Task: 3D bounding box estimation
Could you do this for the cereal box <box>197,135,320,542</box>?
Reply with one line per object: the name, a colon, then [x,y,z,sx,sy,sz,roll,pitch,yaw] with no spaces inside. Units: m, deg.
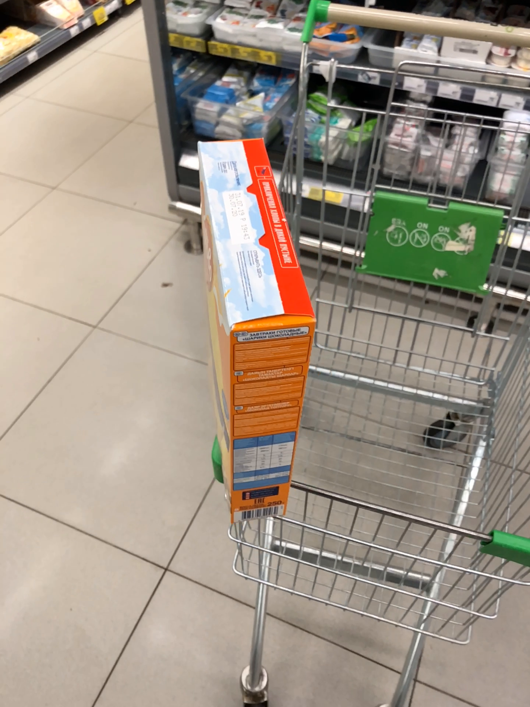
cereal box: [-0.016,-0.001,0.467,0.050,0.259,0.201,-5,50,-7]
